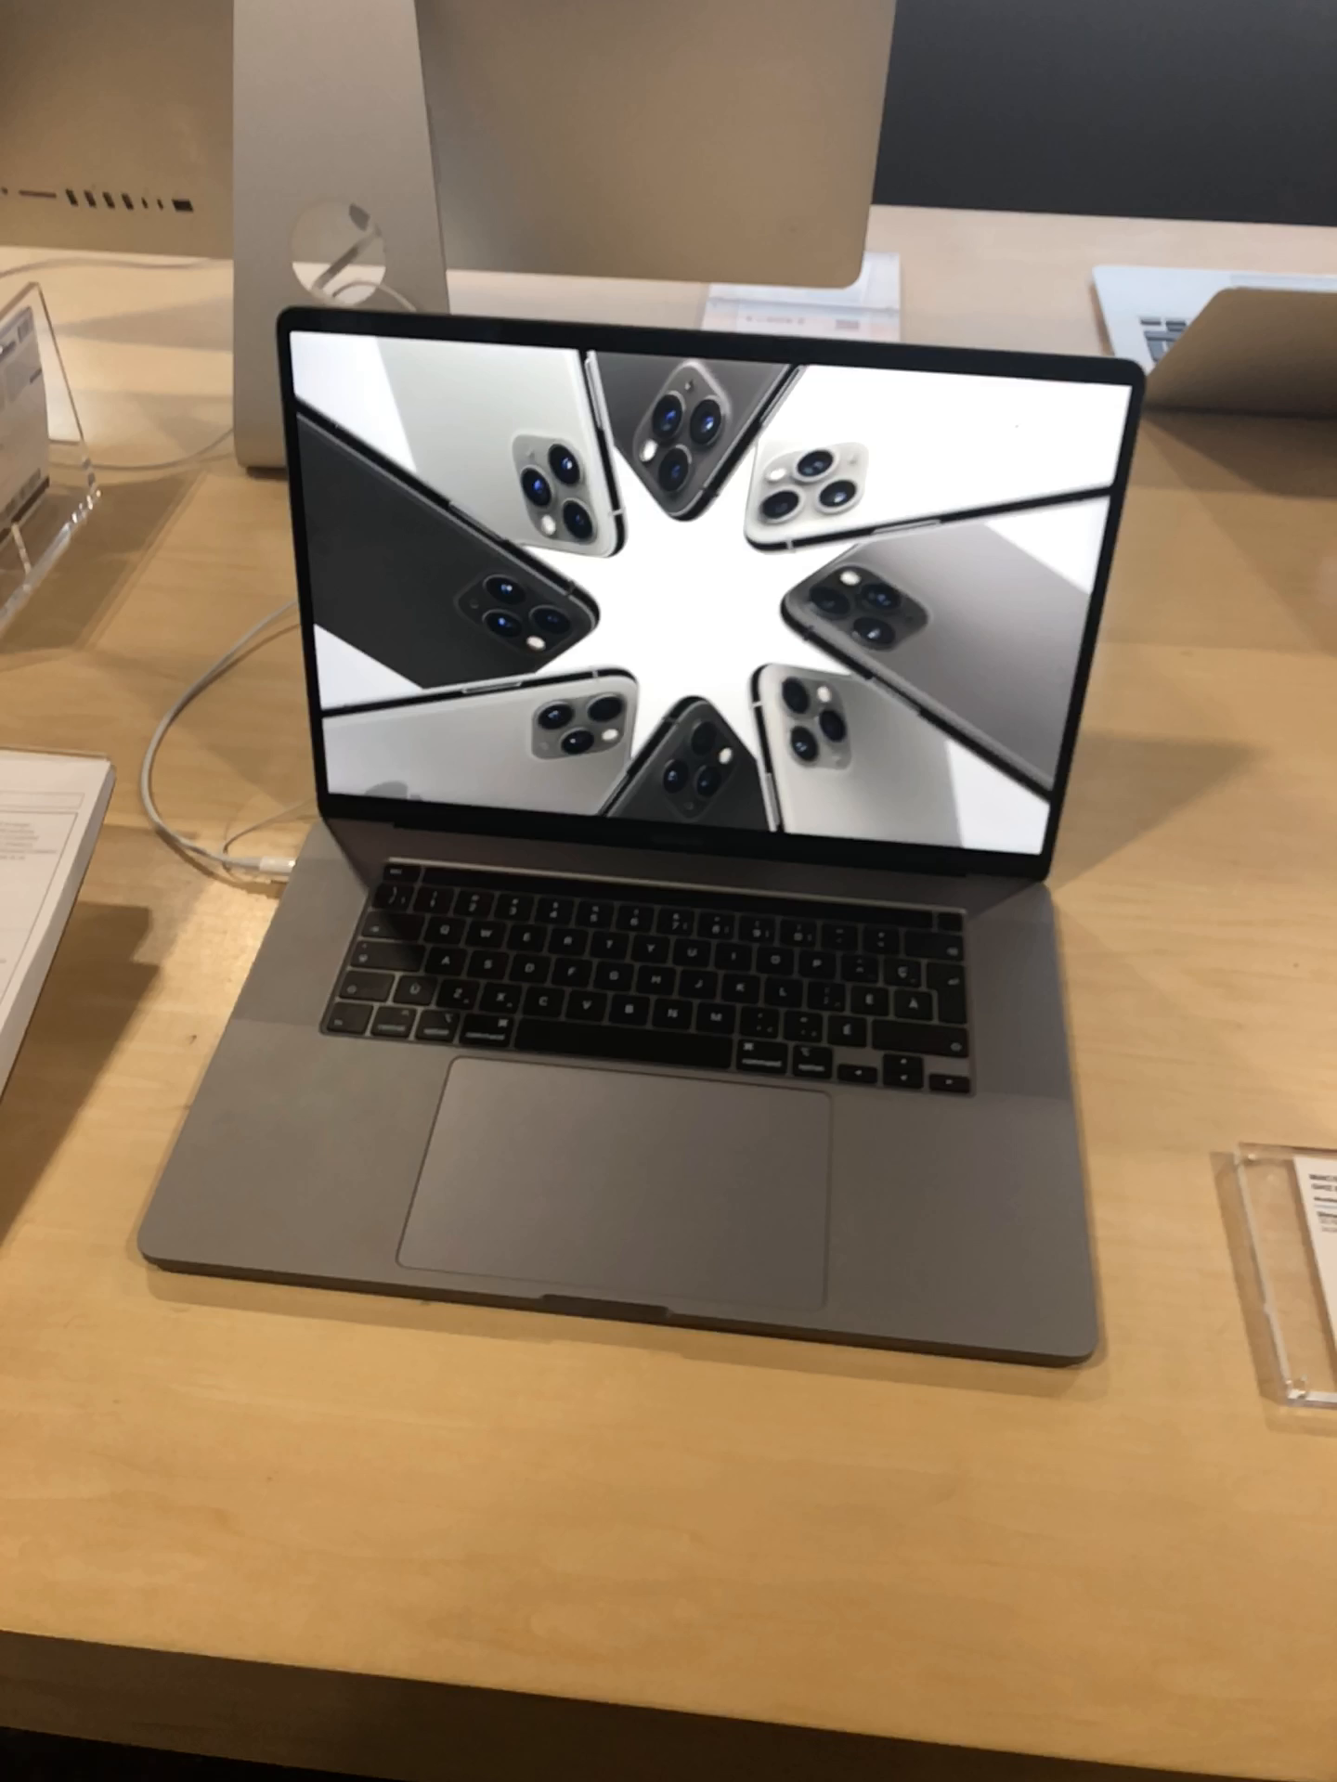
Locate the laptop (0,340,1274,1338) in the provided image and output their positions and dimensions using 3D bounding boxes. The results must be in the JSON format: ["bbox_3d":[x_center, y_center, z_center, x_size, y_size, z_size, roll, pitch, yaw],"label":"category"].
[{"bbox_3d":[-0.003,-0.032,0.563,0.344,0.227,0.292,4,44,4],"label":"laptop"}]
